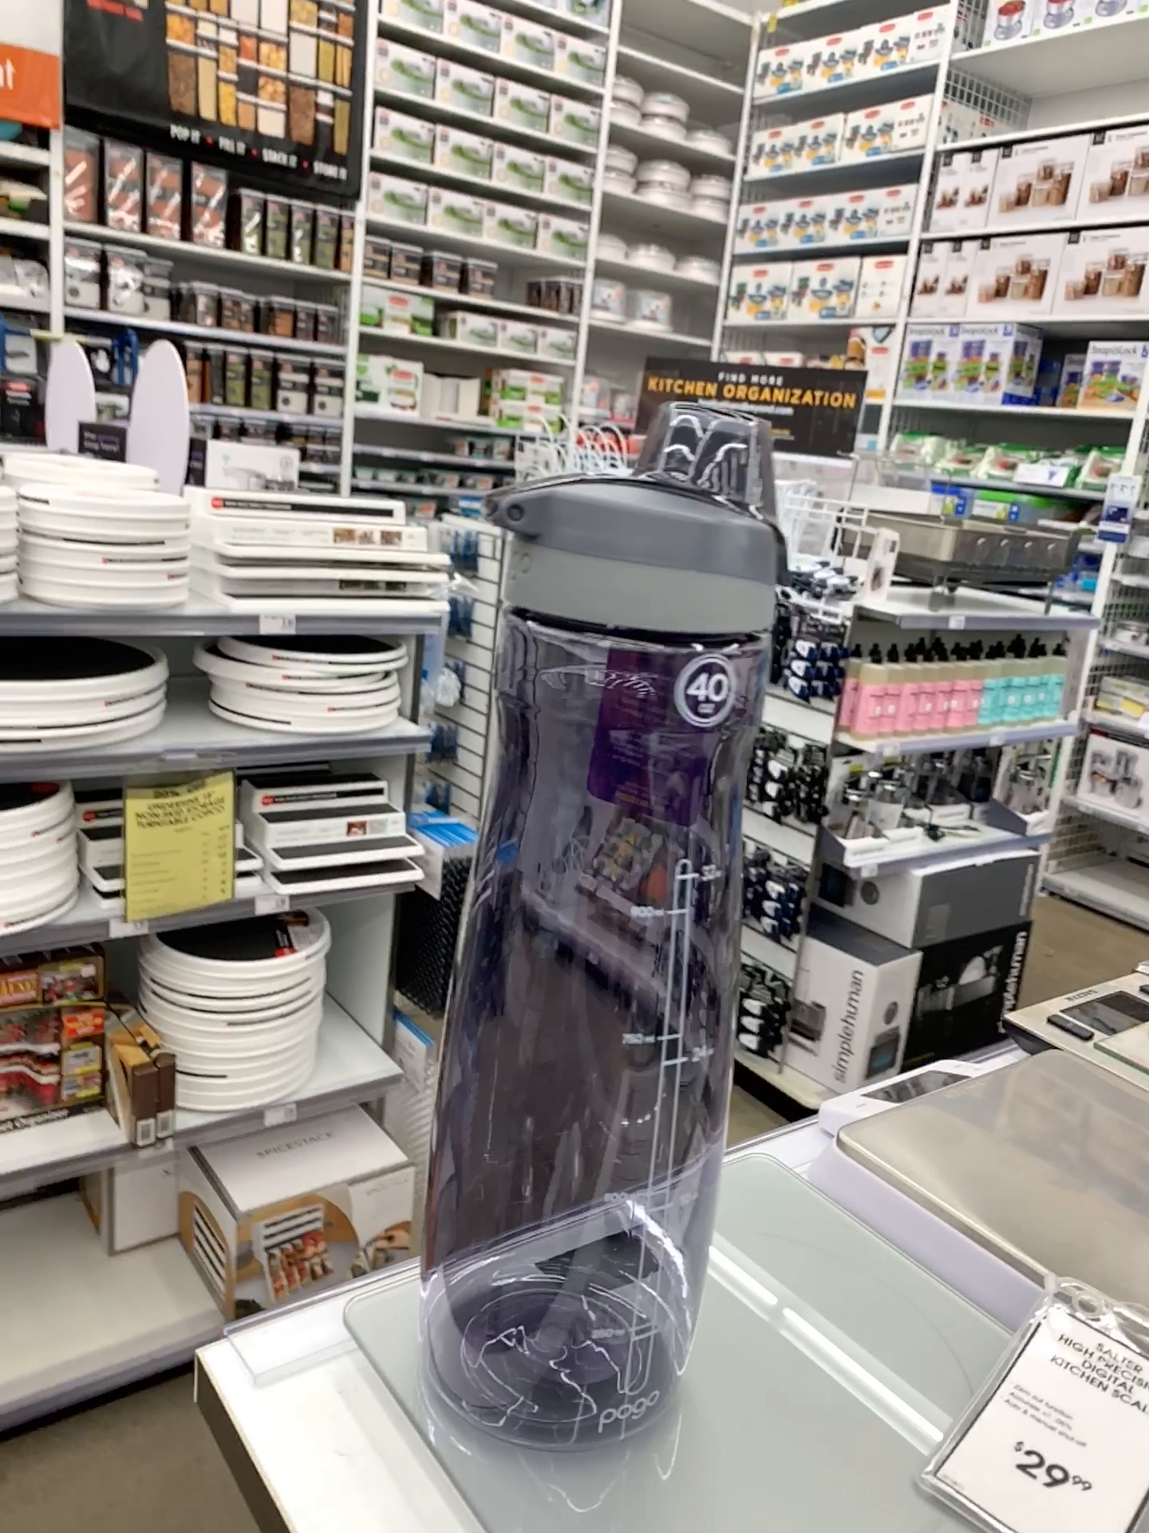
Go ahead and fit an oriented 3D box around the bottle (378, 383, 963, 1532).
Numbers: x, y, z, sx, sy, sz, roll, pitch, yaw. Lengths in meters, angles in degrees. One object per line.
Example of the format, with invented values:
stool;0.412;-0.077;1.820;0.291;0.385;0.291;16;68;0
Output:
bottle;0.015;0.052;0.357;0.100;0.309;0.100;6;15;-2
